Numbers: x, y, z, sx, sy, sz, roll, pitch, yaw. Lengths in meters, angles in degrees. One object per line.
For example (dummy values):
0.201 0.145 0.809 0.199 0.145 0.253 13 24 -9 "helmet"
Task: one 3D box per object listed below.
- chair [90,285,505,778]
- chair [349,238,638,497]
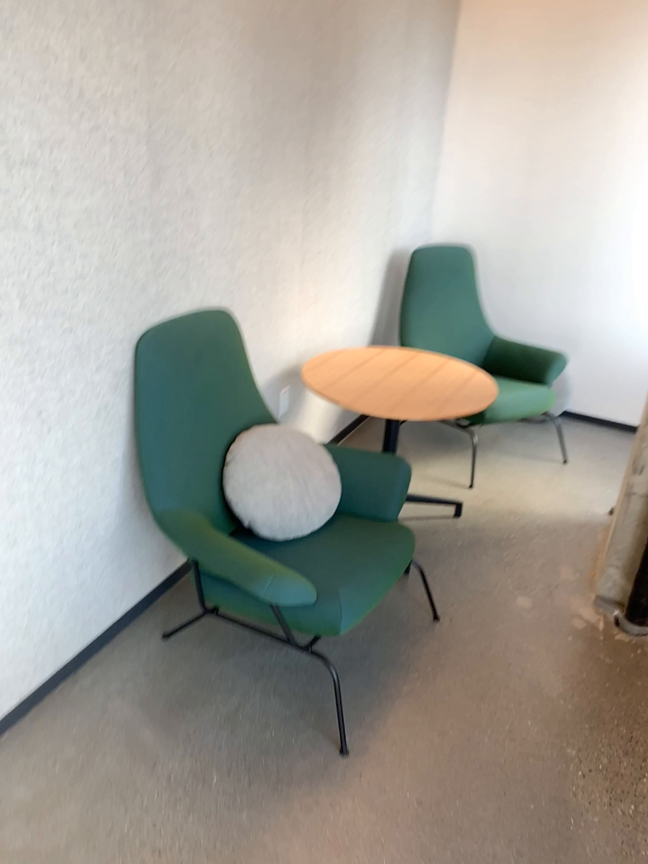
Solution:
-0.066 0.201 2.077 0.852 1.035 0.832 17 28 25 "chair"
0.783 -0.406 3.406 0.820 0.955 1.005 -10 29 -29 "chair"
